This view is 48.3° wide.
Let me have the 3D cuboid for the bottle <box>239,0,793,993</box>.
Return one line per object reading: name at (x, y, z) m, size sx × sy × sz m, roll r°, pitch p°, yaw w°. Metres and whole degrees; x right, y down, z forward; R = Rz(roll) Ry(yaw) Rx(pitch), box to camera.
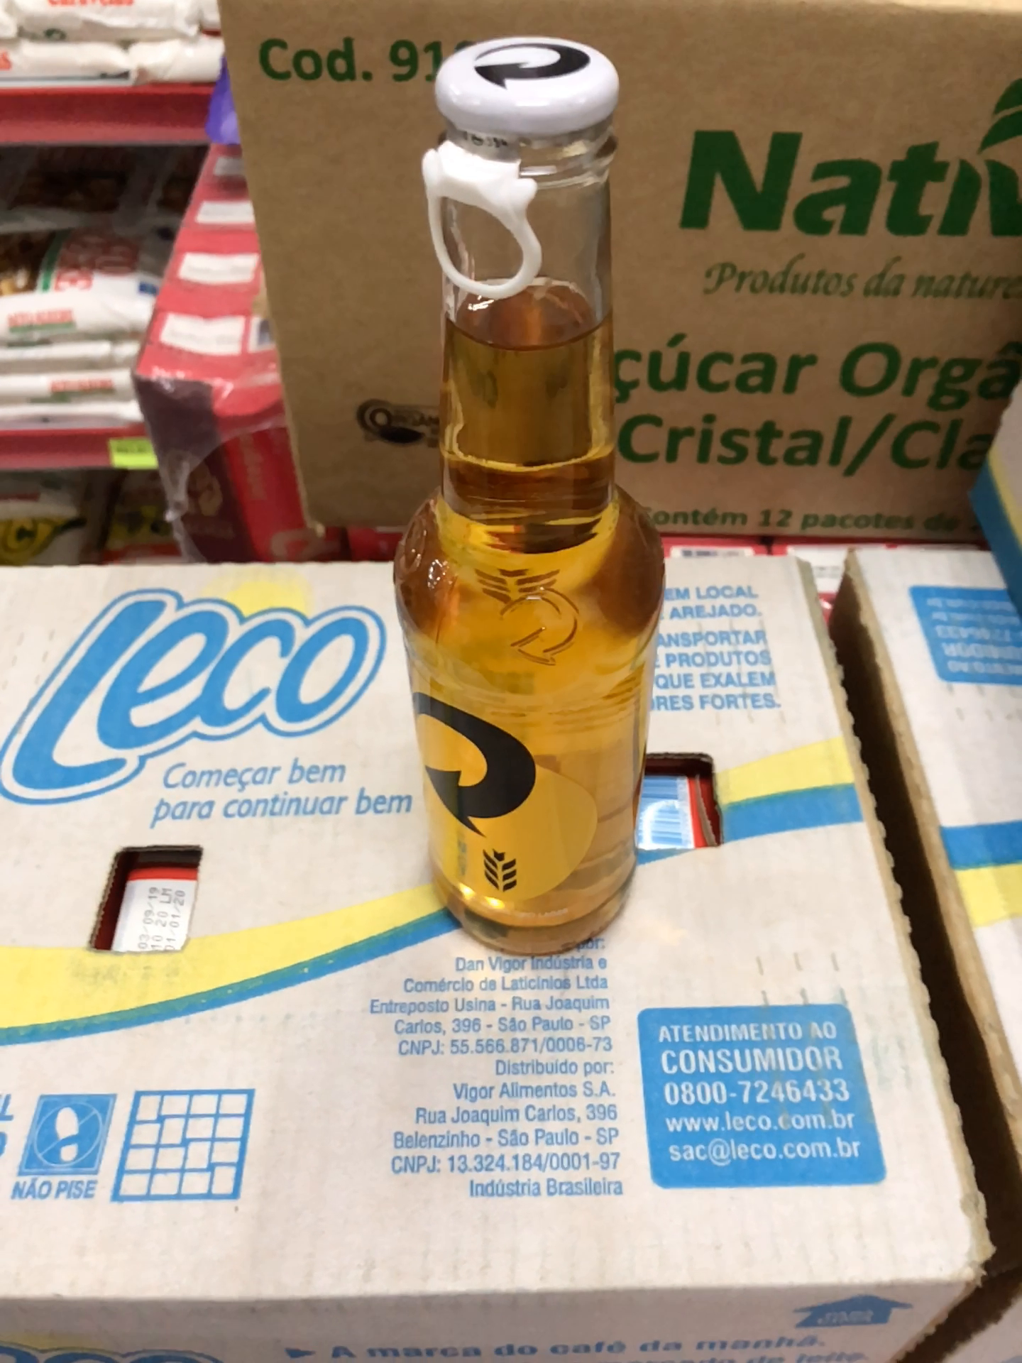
bottle at (0.003, -0.021, 0.242) m, size 0.060 × 0.208 × 0.060 m, roll 0°, pitch 47°, yaw 0°
